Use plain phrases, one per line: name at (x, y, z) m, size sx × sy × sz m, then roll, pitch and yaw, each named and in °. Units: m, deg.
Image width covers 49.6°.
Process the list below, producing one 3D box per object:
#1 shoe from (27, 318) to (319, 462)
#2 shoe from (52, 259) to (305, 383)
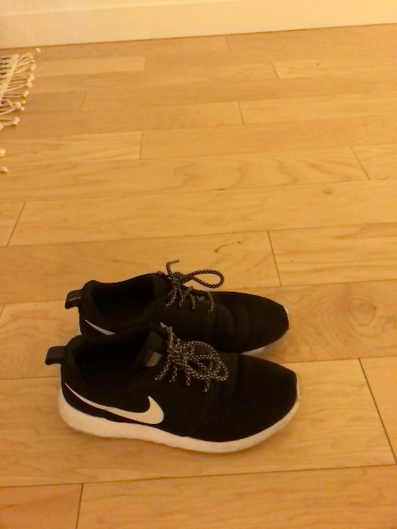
shoe at (-0.021, 0.130, 0.462) m, size 0.270 × 0.069 × 0.121 m, roll 1°, pitch 44°, yaw 5°
shoe at (-0.018, 0.064, 0.527) m, size 0.270 × 0.069 × 0.131 m, roll 1°, pitch 44°, yaw 5°
